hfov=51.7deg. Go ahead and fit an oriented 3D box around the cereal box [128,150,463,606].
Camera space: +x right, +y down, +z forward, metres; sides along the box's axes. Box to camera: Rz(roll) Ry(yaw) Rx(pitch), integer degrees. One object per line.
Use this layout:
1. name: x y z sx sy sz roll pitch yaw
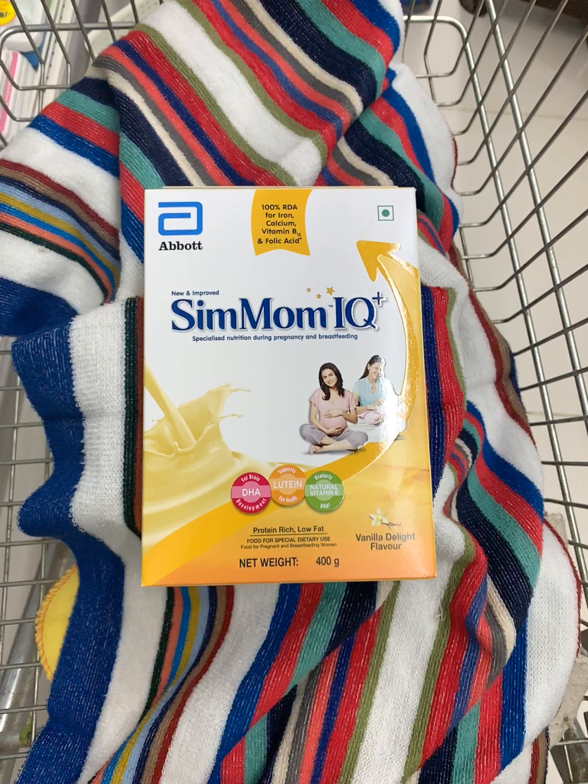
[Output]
1. cereal box: -0.001 -0.008 0.291 0.140 0.050 0.200 0 83 -2
